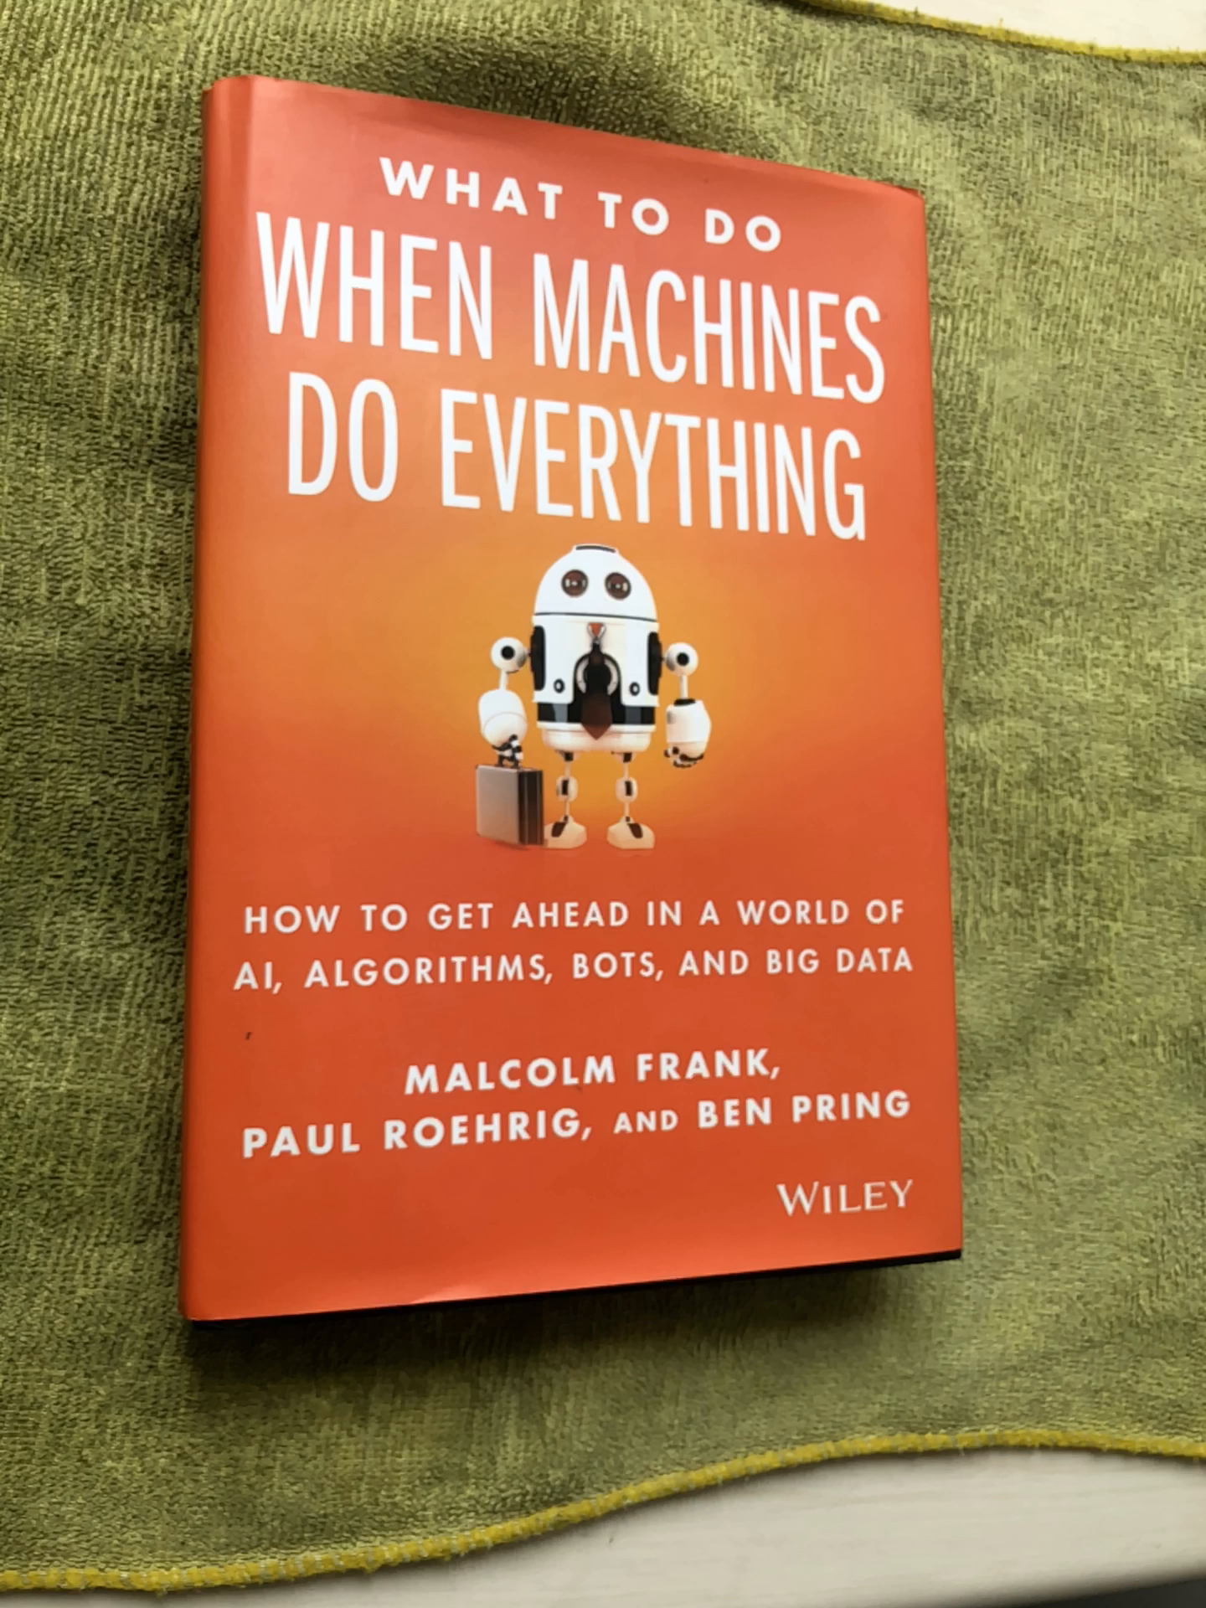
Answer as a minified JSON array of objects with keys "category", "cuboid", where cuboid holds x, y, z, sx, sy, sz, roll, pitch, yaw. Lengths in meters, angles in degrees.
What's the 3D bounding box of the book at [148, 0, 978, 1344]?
[{"category":"book","cuboid":[-0.007,-0.027,0.279,0.160,0.040,0.240,1,84,-19]}]
